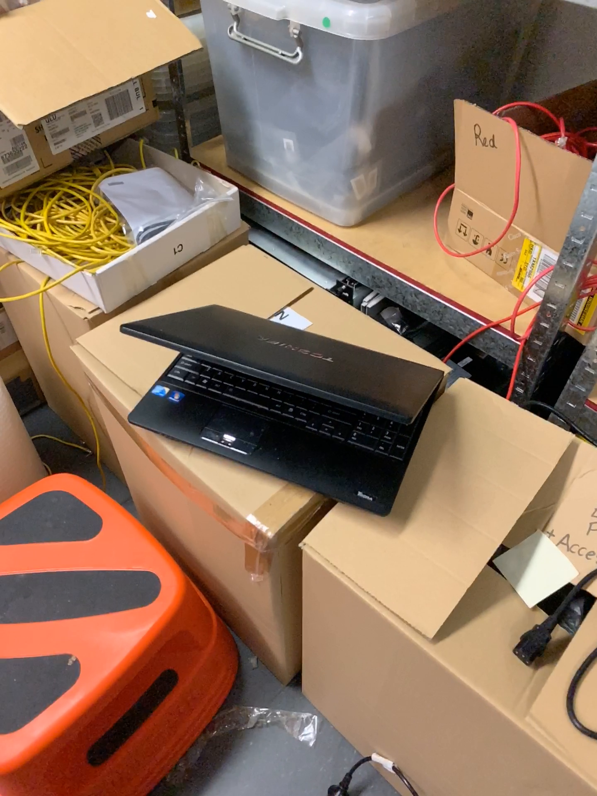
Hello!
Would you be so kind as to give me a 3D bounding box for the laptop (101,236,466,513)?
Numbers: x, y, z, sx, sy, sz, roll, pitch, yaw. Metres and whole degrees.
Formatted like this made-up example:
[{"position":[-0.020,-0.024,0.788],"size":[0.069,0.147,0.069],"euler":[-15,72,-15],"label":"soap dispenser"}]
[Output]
[{"position":[-0.011,-0.042,0.769],"size":[0.354,0.135,0.232],"euler":[18,53,14],"label":"laptop"}]
